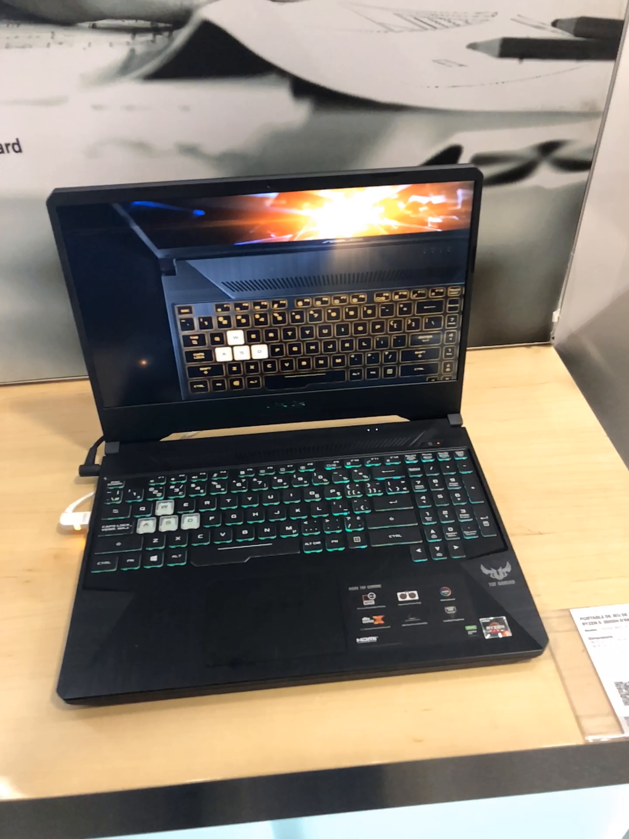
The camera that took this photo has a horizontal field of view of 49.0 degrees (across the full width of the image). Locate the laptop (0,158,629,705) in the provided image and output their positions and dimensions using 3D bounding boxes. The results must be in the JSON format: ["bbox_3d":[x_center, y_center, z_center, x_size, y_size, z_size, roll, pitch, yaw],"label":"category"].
[{"bbox_3d":[-0.025,-0.010,0.533,0.358,0.245,0.310,-5,41,-4],"label":"laptop"}]
